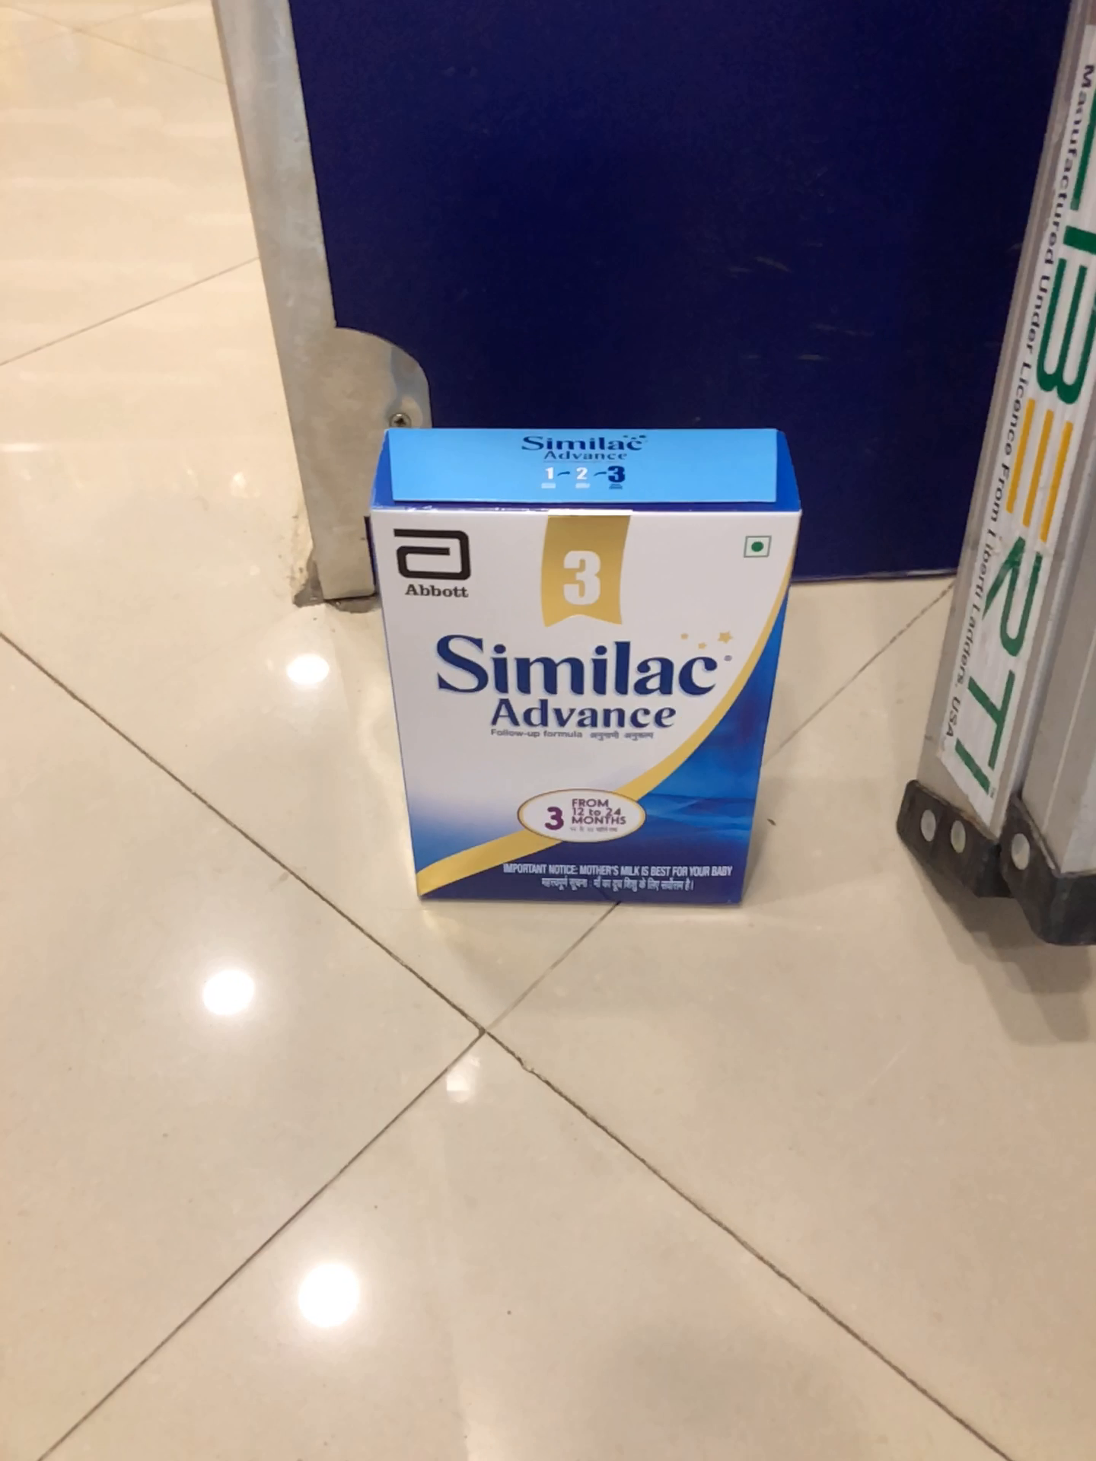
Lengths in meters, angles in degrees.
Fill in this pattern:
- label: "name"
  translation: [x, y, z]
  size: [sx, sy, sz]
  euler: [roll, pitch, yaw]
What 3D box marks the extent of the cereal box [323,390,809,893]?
- label: "cereal box"
  translation: [0.007, -0.021, 0.438]
  size: [0.140, 0.199, 0.050]
  euler: [0, 47, 2]
